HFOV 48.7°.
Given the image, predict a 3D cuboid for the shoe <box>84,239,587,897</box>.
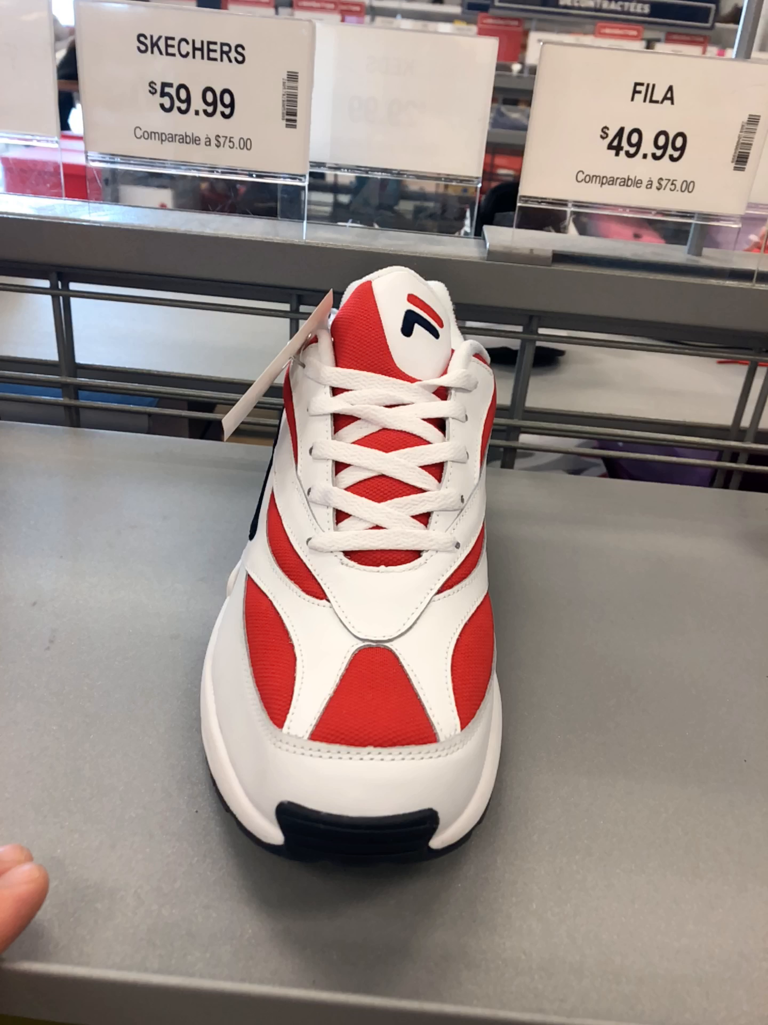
[{"bbox_3d":[-0.010,-0.010,0.351,0.120,0.129,0.272,5,31,0],"label":"shoe"}]
